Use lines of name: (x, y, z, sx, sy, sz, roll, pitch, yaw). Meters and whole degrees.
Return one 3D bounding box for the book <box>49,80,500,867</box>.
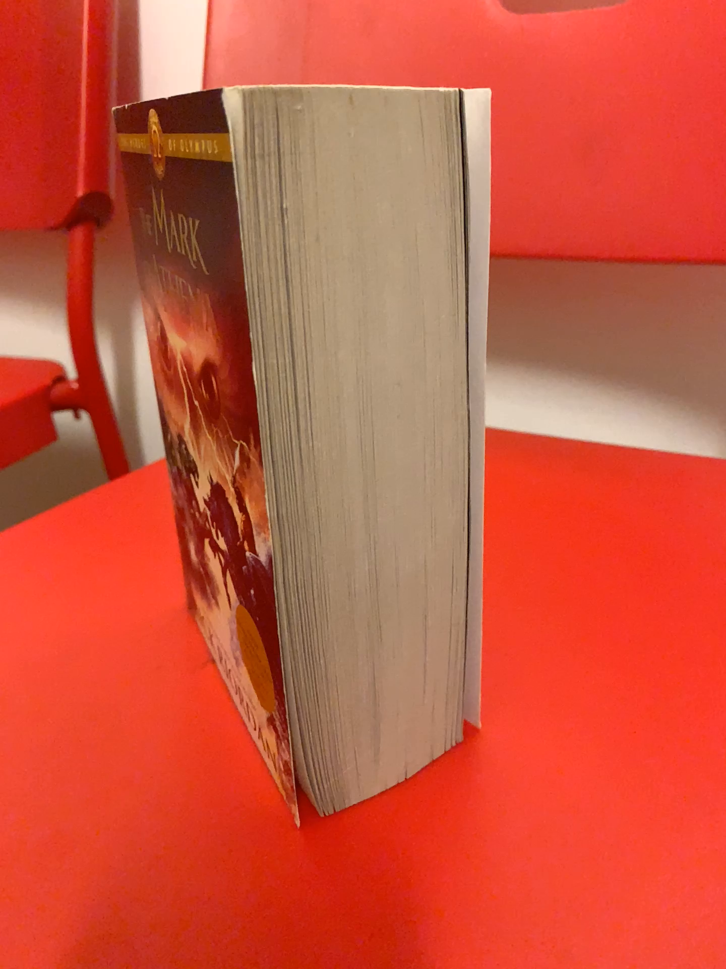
book: (-0.031, -0.013, 0.239, 0.061, 0.194, 0.140, -17, 30, -28)
